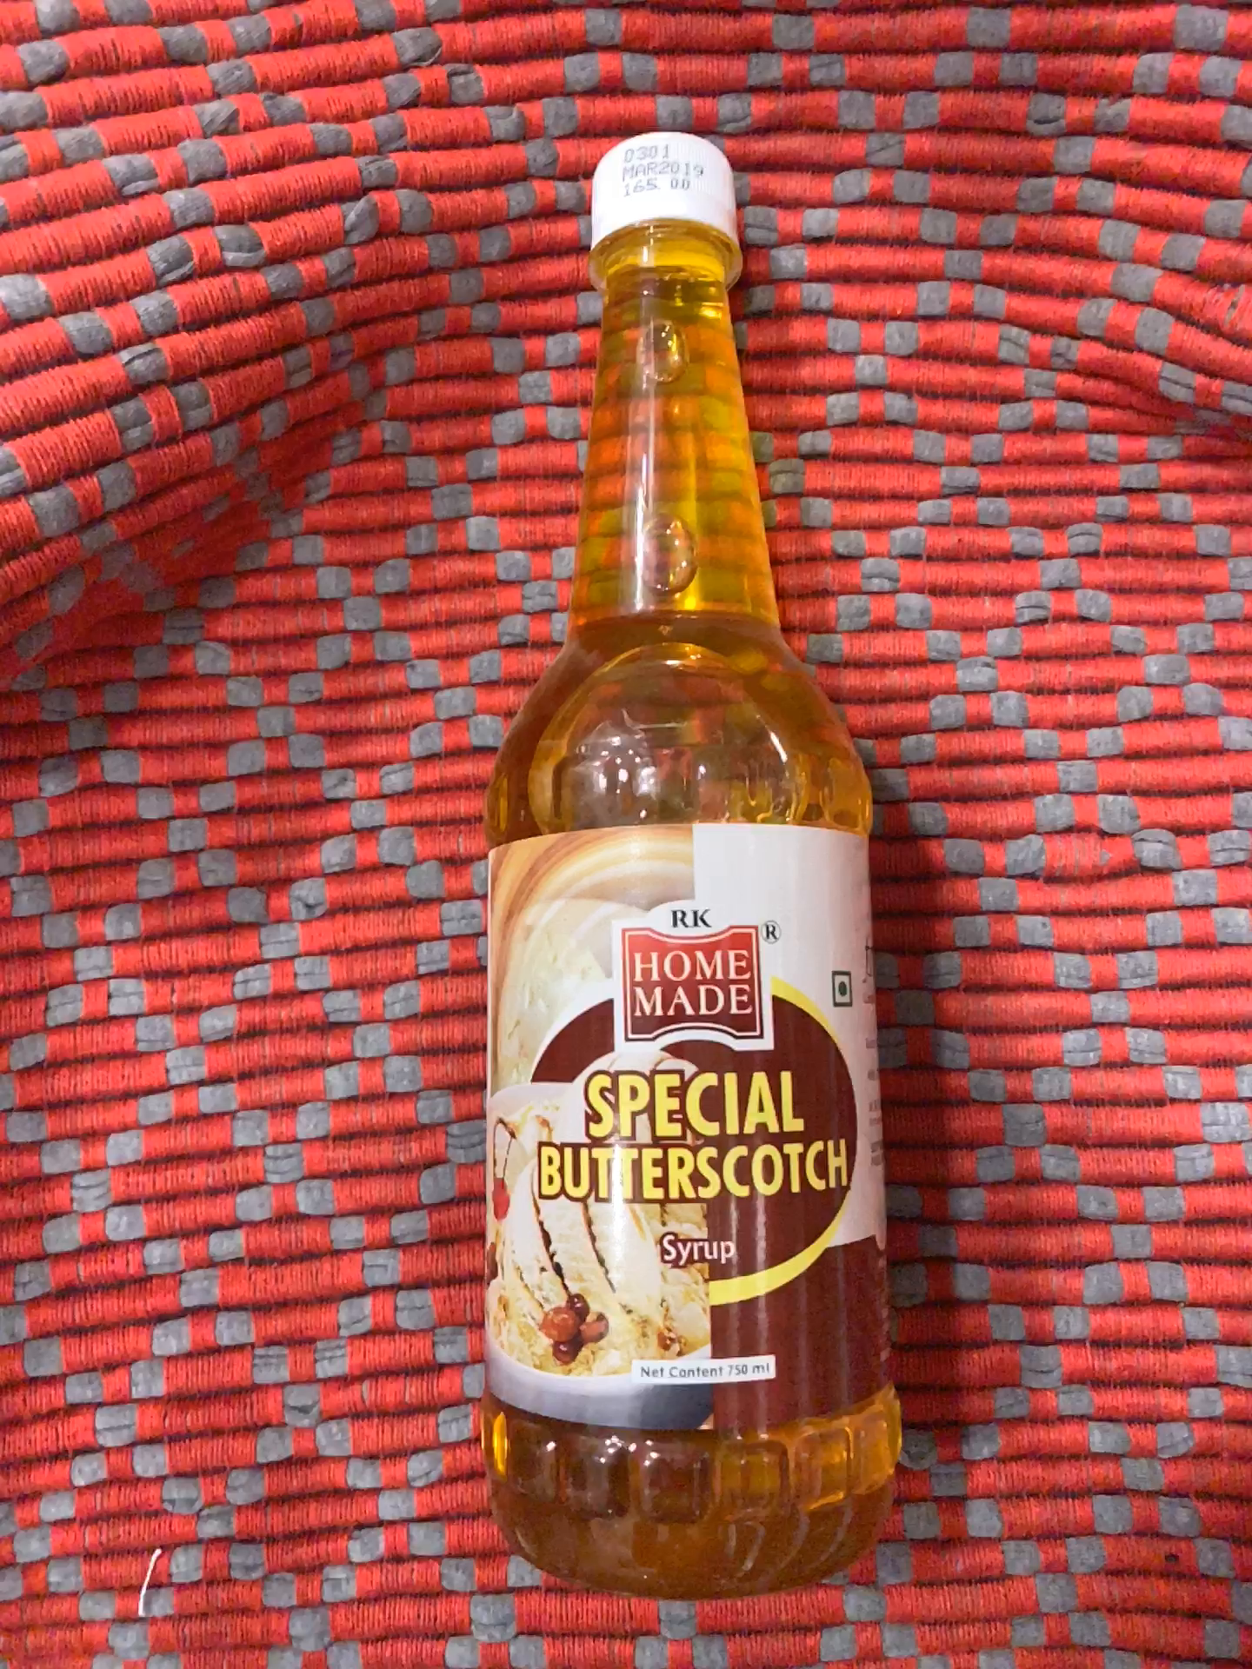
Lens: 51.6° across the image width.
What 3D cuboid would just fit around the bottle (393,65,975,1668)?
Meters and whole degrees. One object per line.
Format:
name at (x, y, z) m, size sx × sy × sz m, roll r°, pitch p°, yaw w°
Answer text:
bottle at (0.008, -0.003, 0.236) m, size 0.080 × 0.060 × 0.260 m, roll -2°, pitch 77°, yaw 5°
